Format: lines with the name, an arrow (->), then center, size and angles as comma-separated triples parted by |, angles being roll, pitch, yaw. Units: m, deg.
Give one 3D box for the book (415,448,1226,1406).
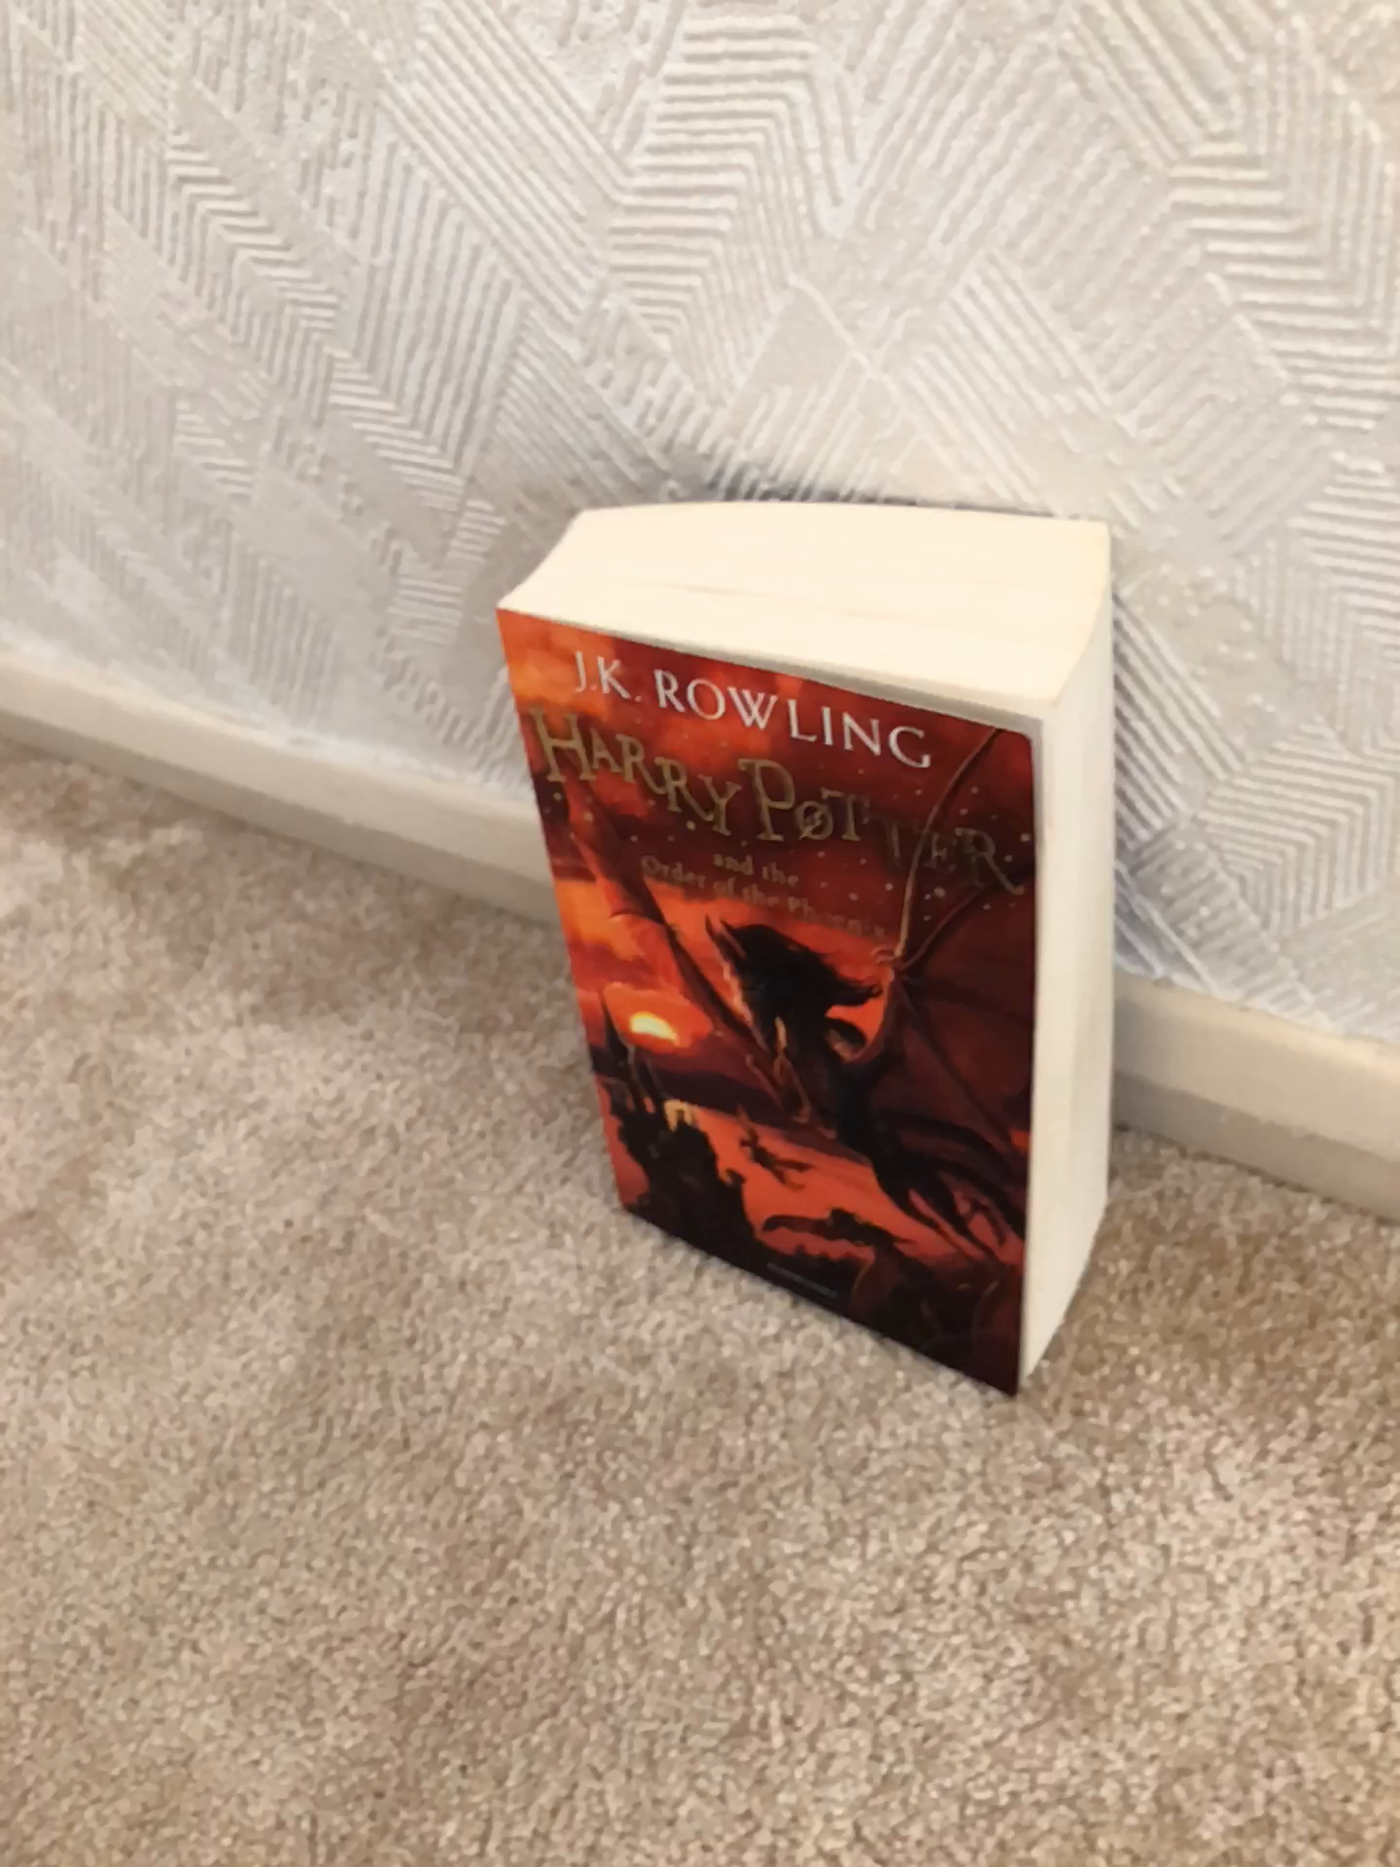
book -> 0.035, -0.004, 0.394 | 0.148, 0.189, 0.092 | 19, 47, 31
